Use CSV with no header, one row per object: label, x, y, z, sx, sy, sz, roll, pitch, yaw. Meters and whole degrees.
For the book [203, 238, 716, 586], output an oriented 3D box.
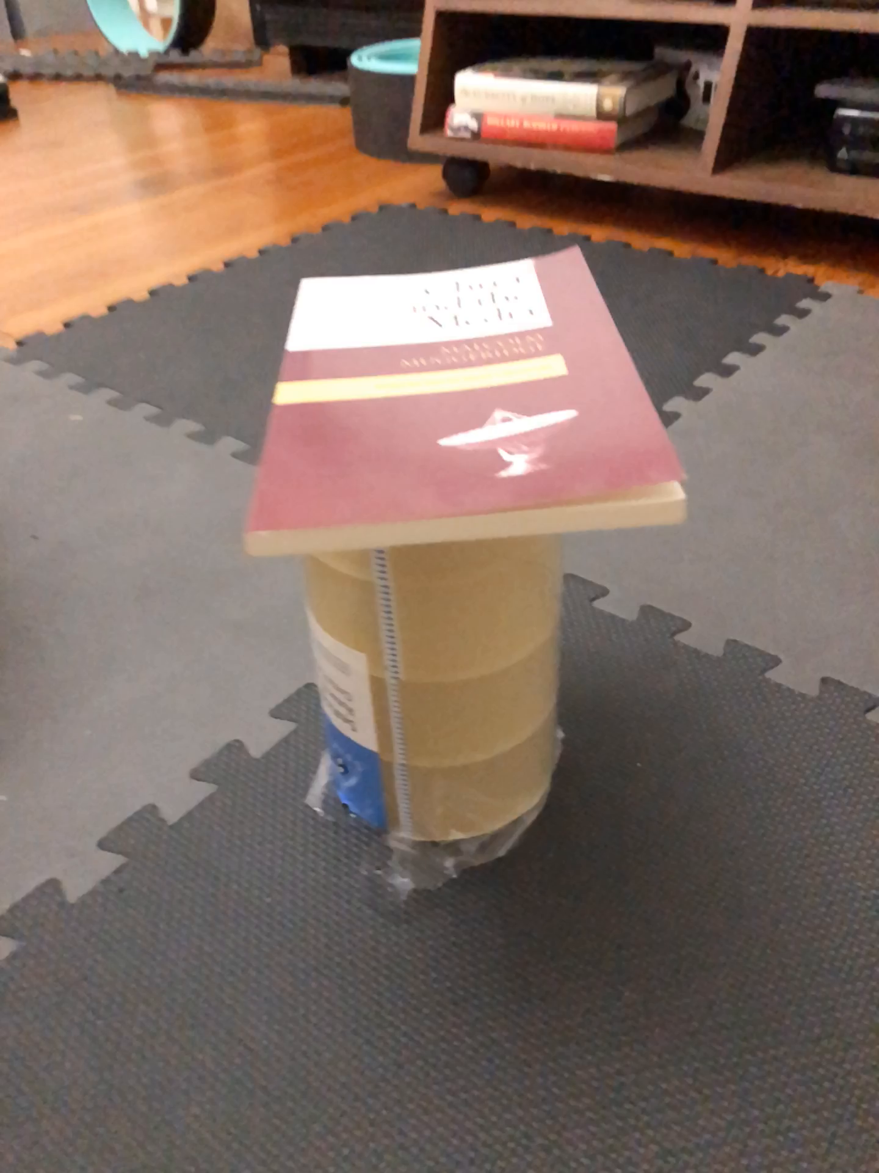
book,0.000,-0.078,0.354,0.140,0.020,0.211,-4,38,-1
